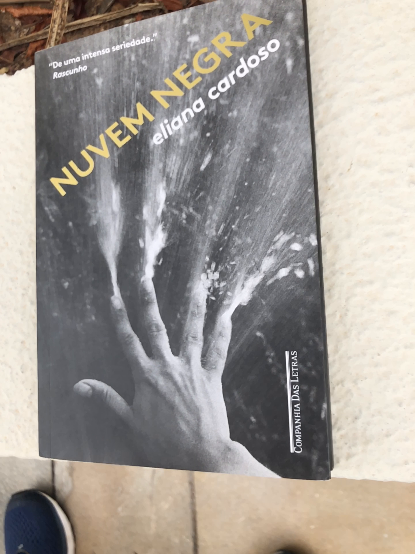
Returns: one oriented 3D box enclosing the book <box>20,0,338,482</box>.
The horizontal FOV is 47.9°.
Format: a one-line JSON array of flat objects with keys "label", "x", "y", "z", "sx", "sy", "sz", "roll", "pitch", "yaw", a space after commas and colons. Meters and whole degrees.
[{"label": "book", "x": -0.020, "y": -0.019, "z": 0.209, "sx": 0.140, "sy": 0.013, "sz": 0.200, "roll": -3, "pitch": 86, "yaw": 18}]
